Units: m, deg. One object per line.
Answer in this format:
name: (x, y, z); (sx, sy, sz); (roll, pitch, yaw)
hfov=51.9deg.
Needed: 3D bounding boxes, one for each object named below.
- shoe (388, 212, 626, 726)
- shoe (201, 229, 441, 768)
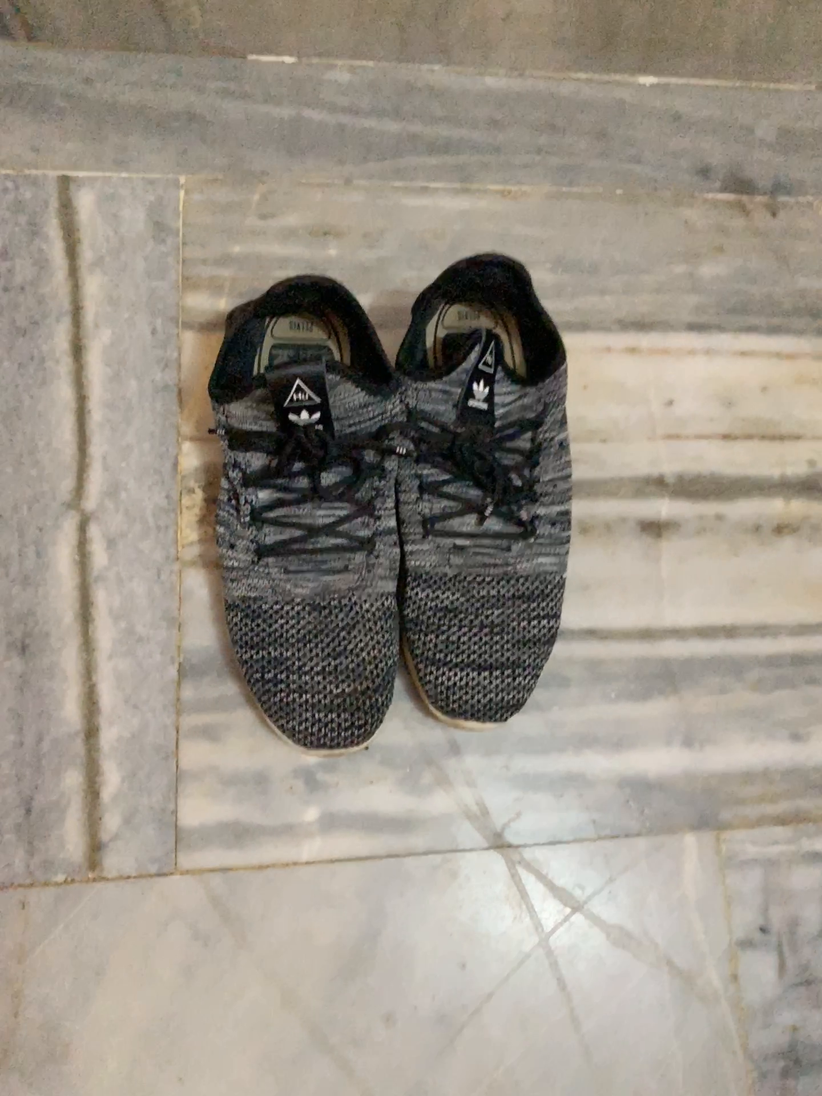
shoe: (0.051, -0.044, 0.520); (0.120, 0.080, 0.300); (2, 77, -8)
shoe: (-0.058, -0.029, 0.500); (0.120, 0.080, 0.300); (-2, 78, -9)
